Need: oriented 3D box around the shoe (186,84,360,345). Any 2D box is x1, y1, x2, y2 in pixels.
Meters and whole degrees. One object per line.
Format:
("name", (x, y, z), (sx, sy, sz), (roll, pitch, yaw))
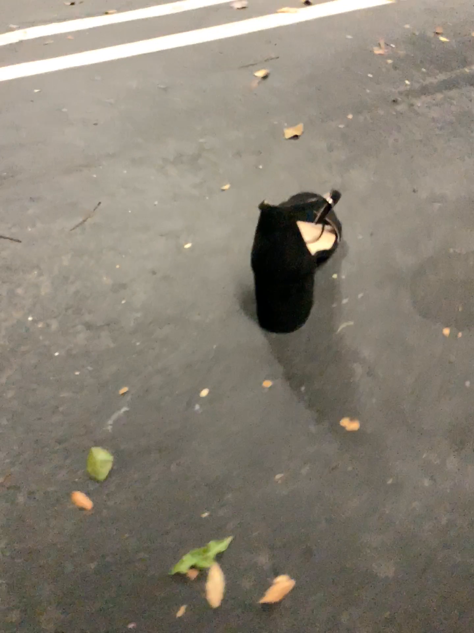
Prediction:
("shoe", (0.058, -0.122, 0.570), (0.120, 0.140, 0.270), (5, 47, 16))
